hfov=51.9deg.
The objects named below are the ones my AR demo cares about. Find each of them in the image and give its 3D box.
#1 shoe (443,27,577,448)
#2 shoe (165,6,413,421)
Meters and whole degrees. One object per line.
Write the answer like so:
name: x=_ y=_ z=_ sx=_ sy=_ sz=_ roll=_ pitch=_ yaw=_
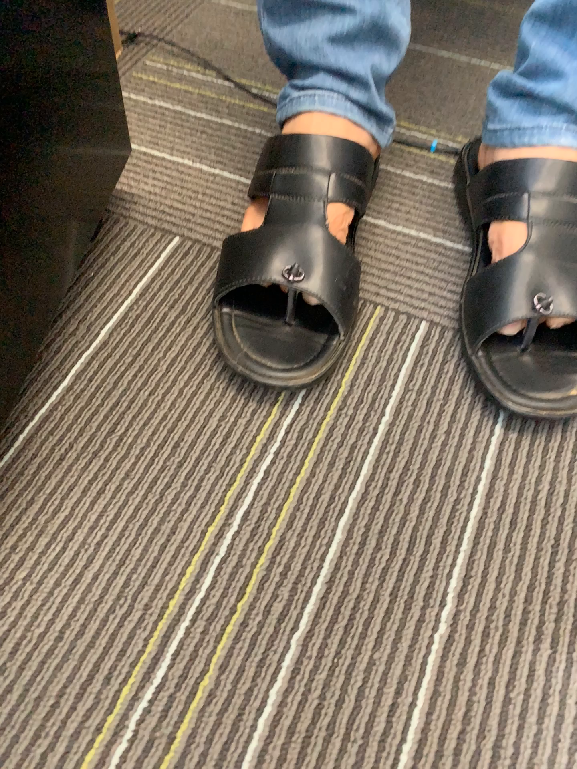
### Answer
shoe: x=0.193 y=-0.126 z=0.452 sx=0.118 sy=0.116 sz=0.317 roll=6 pitch=58 yaw=3
shoe: x=0.016 y=-0.146 z=0.459 sx=0.118 sy=0.116 sz=0.317 roll=9 pitch=58 yaw=5
